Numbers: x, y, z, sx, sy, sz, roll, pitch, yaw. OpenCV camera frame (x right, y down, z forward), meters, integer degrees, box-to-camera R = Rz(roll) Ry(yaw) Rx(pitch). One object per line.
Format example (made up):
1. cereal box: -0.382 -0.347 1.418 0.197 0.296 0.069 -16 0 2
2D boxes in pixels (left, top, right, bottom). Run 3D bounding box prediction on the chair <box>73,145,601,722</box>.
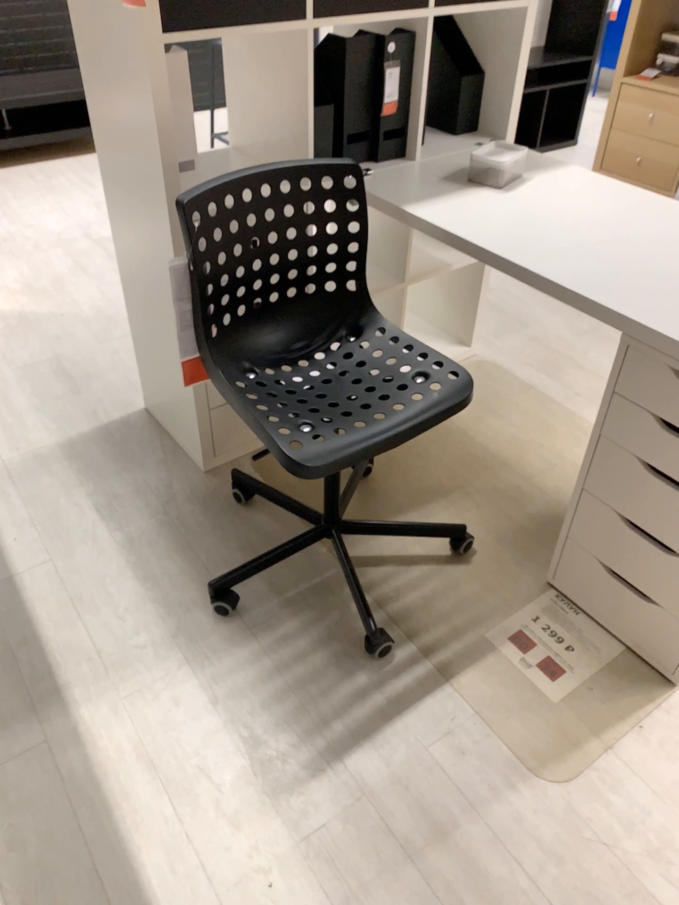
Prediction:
1. chair: -0.044 -0.089 1.576 0.682 0.865 0.753 -23 46 -26
